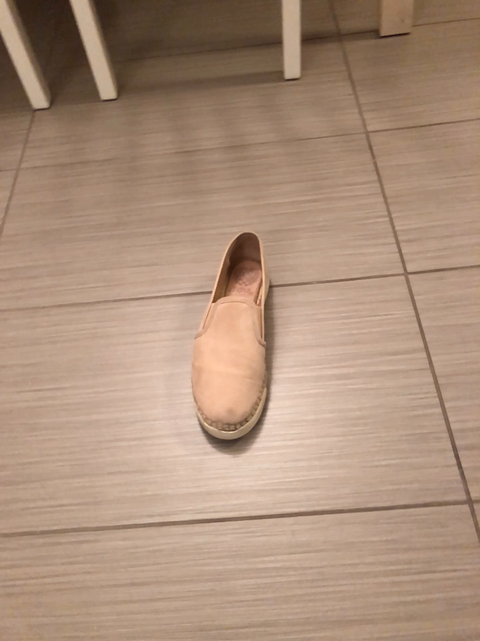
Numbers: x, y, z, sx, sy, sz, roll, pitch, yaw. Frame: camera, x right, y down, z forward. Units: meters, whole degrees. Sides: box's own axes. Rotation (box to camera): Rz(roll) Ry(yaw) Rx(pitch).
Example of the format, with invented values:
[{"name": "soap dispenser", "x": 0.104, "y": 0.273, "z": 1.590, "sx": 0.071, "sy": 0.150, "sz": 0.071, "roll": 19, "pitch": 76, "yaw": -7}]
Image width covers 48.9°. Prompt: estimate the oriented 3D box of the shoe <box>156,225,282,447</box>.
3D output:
[{"name": "shoe", "x": -0.014, "y": 0.008, "z": 0.643, "sx": 0.110, "sy": 0.070, "sz": 0.271, "roll": 2, "pitch": 56, "yaw": 9}]
